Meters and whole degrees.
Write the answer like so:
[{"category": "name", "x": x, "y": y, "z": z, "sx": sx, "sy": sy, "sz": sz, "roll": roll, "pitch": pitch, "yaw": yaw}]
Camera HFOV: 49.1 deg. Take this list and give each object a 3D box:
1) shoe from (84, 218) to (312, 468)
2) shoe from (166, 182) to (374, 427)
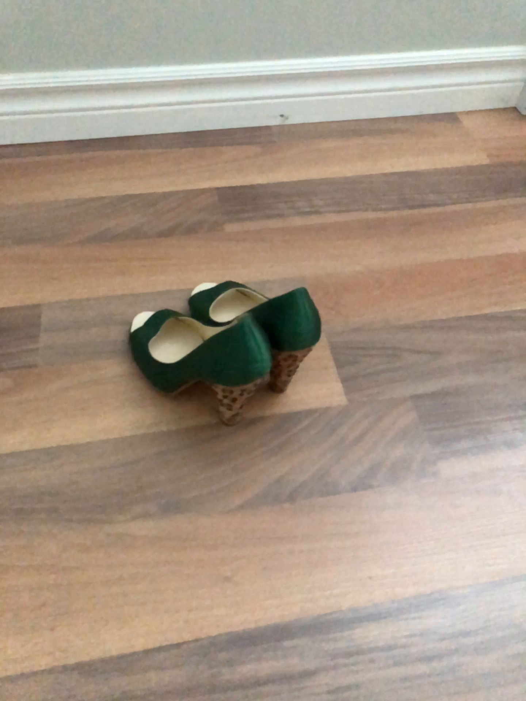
[{"category": "shoe", "x": -0.066, "y": -0.011, "z": 0.572, "sx": 0.090, "sy": 0.130, "sz": 0.210, "roll": -37, "pitch": 62, "yaw": -27}, {"category": "shoe", "x": -0.002, "y": -0.051, "z": 0.596, "sx": 0.090, "sy": 0.130, "sz": 0.210, "roll": -28, "pitch": 58, "yaw": -23}]
